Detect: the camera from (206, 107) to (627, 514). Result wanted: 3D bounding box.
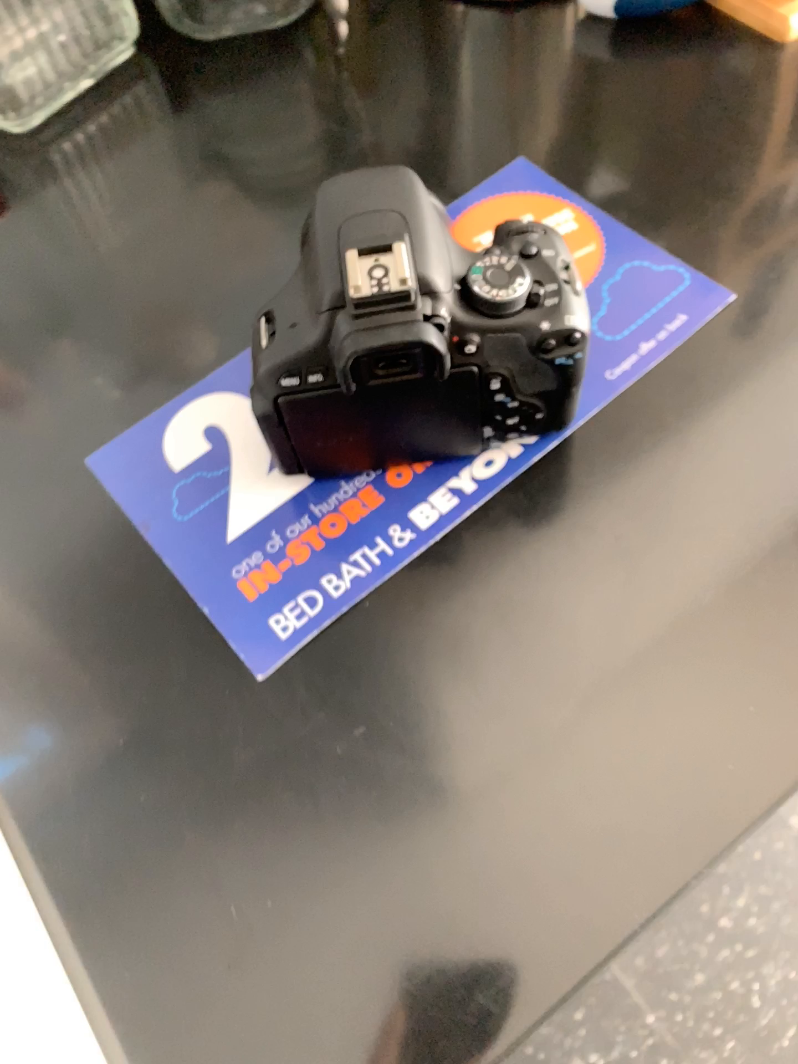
[{"bbox_3d":[0.004,-0.082,0.324,0.133,0.088,0.103,-8,61,3],"label":"camera"}]
